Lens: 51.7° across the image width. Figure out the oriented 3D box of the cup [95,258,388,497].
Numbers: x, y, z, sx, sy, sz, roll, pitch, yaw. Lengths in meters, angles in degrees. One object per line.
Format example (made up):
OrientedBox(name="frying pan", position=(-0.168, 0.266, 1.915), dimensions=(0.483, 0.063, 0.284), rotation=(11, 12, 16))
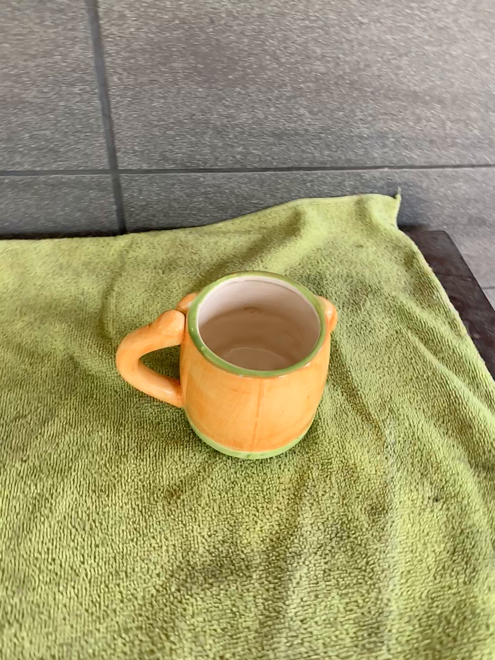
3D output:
OrientedBox(name="cup", position=(-0.010, 0.027, 0.287), dimensions=(0.130, 0.100, 0.080), rotation=(-4, 49, -9))
